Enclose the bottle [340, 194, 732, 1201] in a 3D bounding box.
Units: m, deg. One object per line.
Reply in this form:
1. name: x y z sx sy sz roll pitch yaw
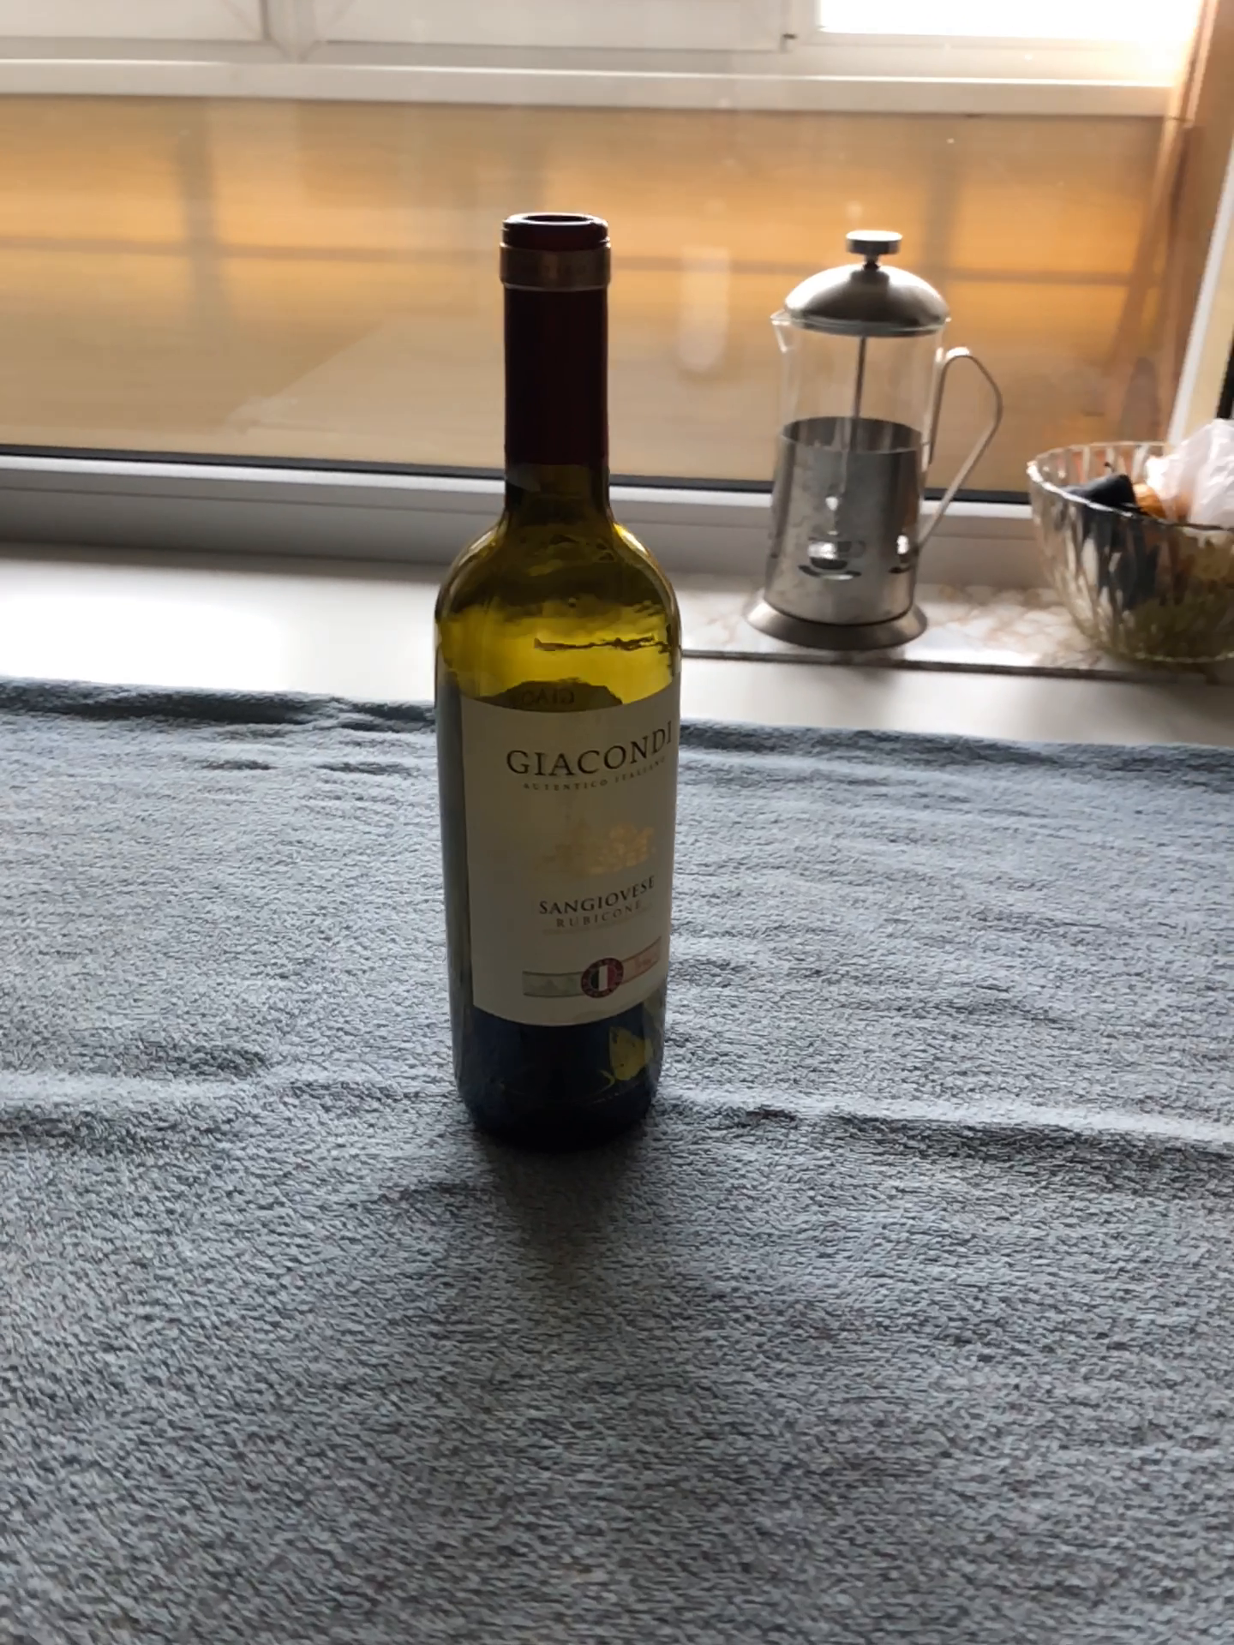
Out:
1. bottle: -0.026 -0.030 0.427 0.080 0.299 0.080 1 29 0
